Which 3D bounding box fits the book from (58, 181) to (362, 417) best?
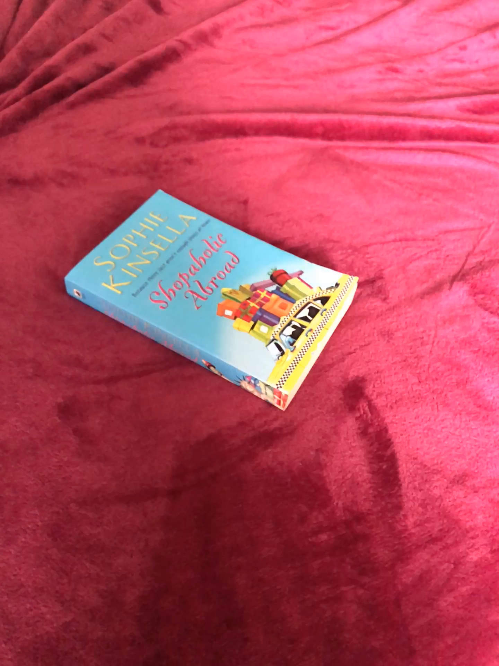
[{"bbox_3d":[-0.028,-0.037,0.447,0.200,0.035,0.130,27,54,13],"label":"book"}]
